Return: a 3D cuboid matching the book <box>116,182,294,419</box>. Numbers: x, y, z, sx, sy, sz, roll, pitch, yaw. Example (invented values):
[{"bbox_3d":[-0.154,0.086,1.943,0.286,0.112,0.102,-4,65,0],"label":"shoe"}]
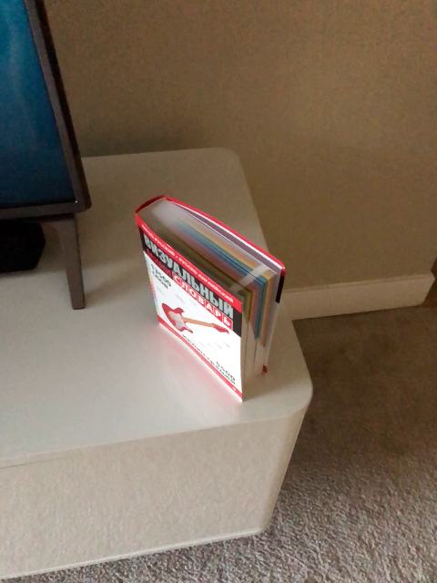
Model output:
[{"bbox_3d":[-0.017,0.014,0.469,0.150,0.179,0.060,37,57,27],"label":"book"}]
